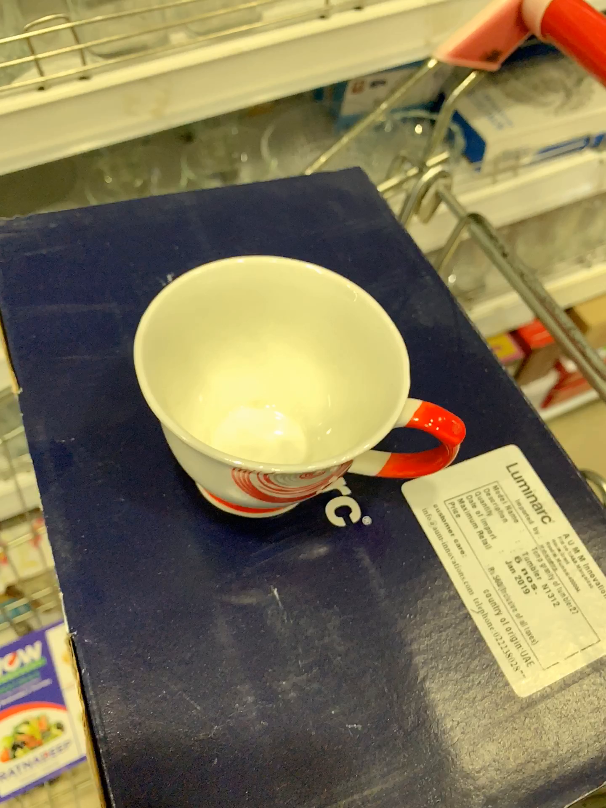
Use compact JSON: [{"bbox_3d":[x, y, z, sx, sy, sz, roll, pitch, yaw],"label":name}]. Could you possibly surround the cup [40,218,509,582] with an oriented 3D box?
[{"bbox_3d":[-0.005,0.001,0.174,0.100,0.050,0.070,8,59,-3],"label":"cup"}]
